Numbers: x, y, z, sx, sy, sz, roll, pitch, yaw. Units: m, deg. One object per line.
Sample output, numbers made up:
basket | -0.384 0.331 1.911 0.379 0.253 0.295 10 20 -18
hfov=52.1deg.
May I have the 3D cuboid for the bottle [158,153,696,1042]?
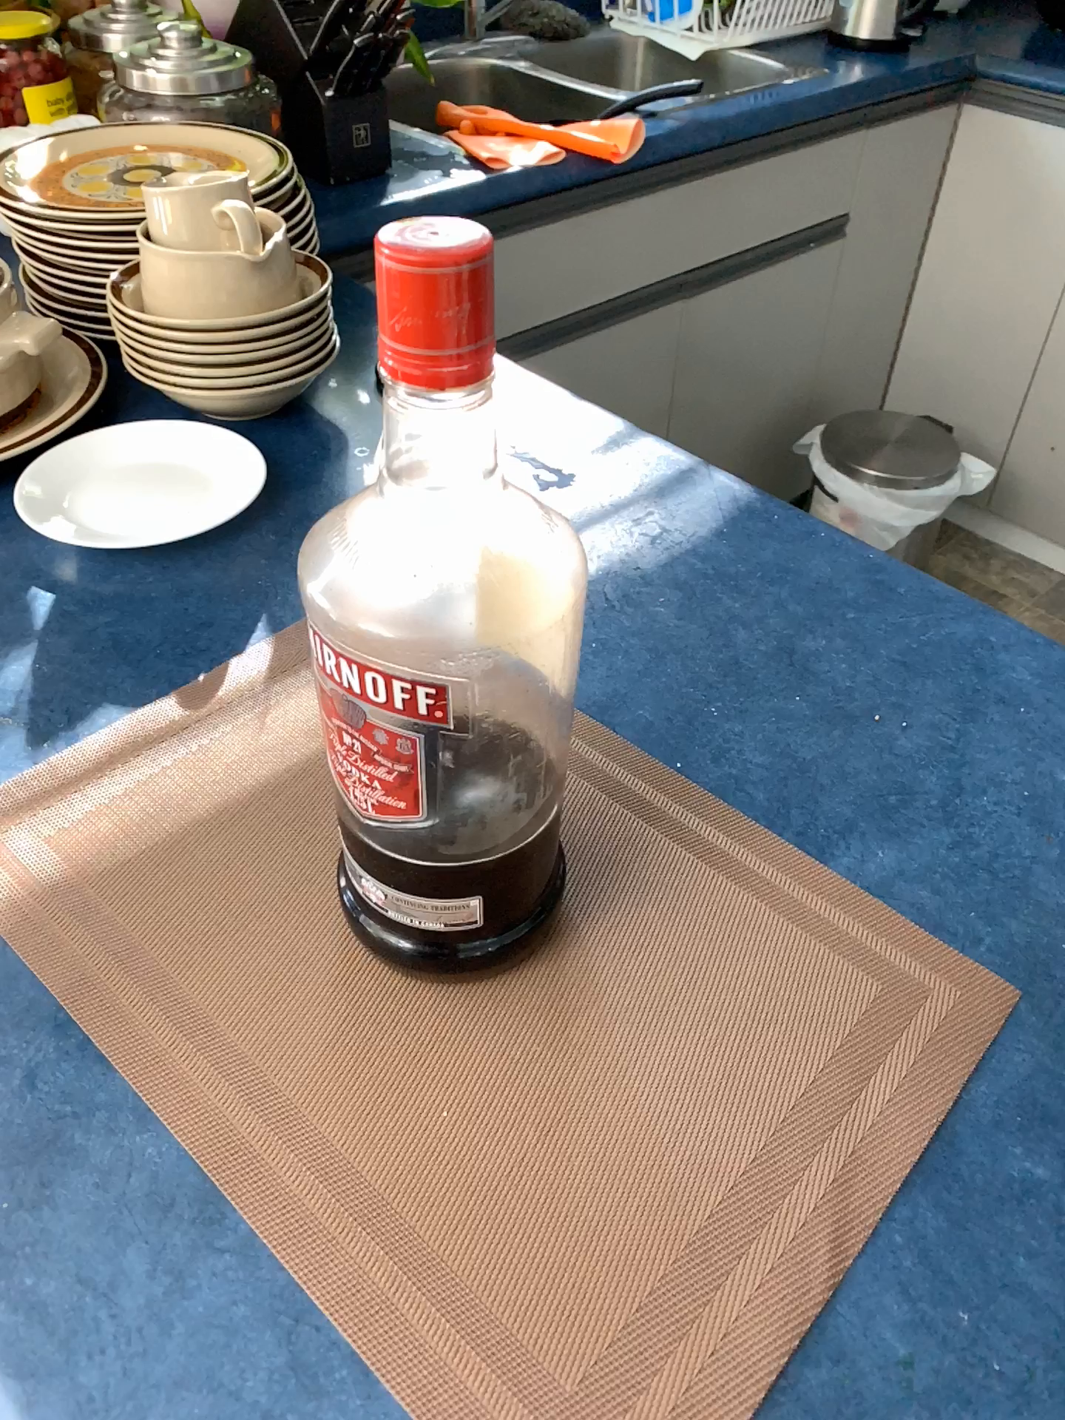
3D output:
bottle | -0.036 -0.027 0.436 0.120 0.317 0.111 1 42 -1
